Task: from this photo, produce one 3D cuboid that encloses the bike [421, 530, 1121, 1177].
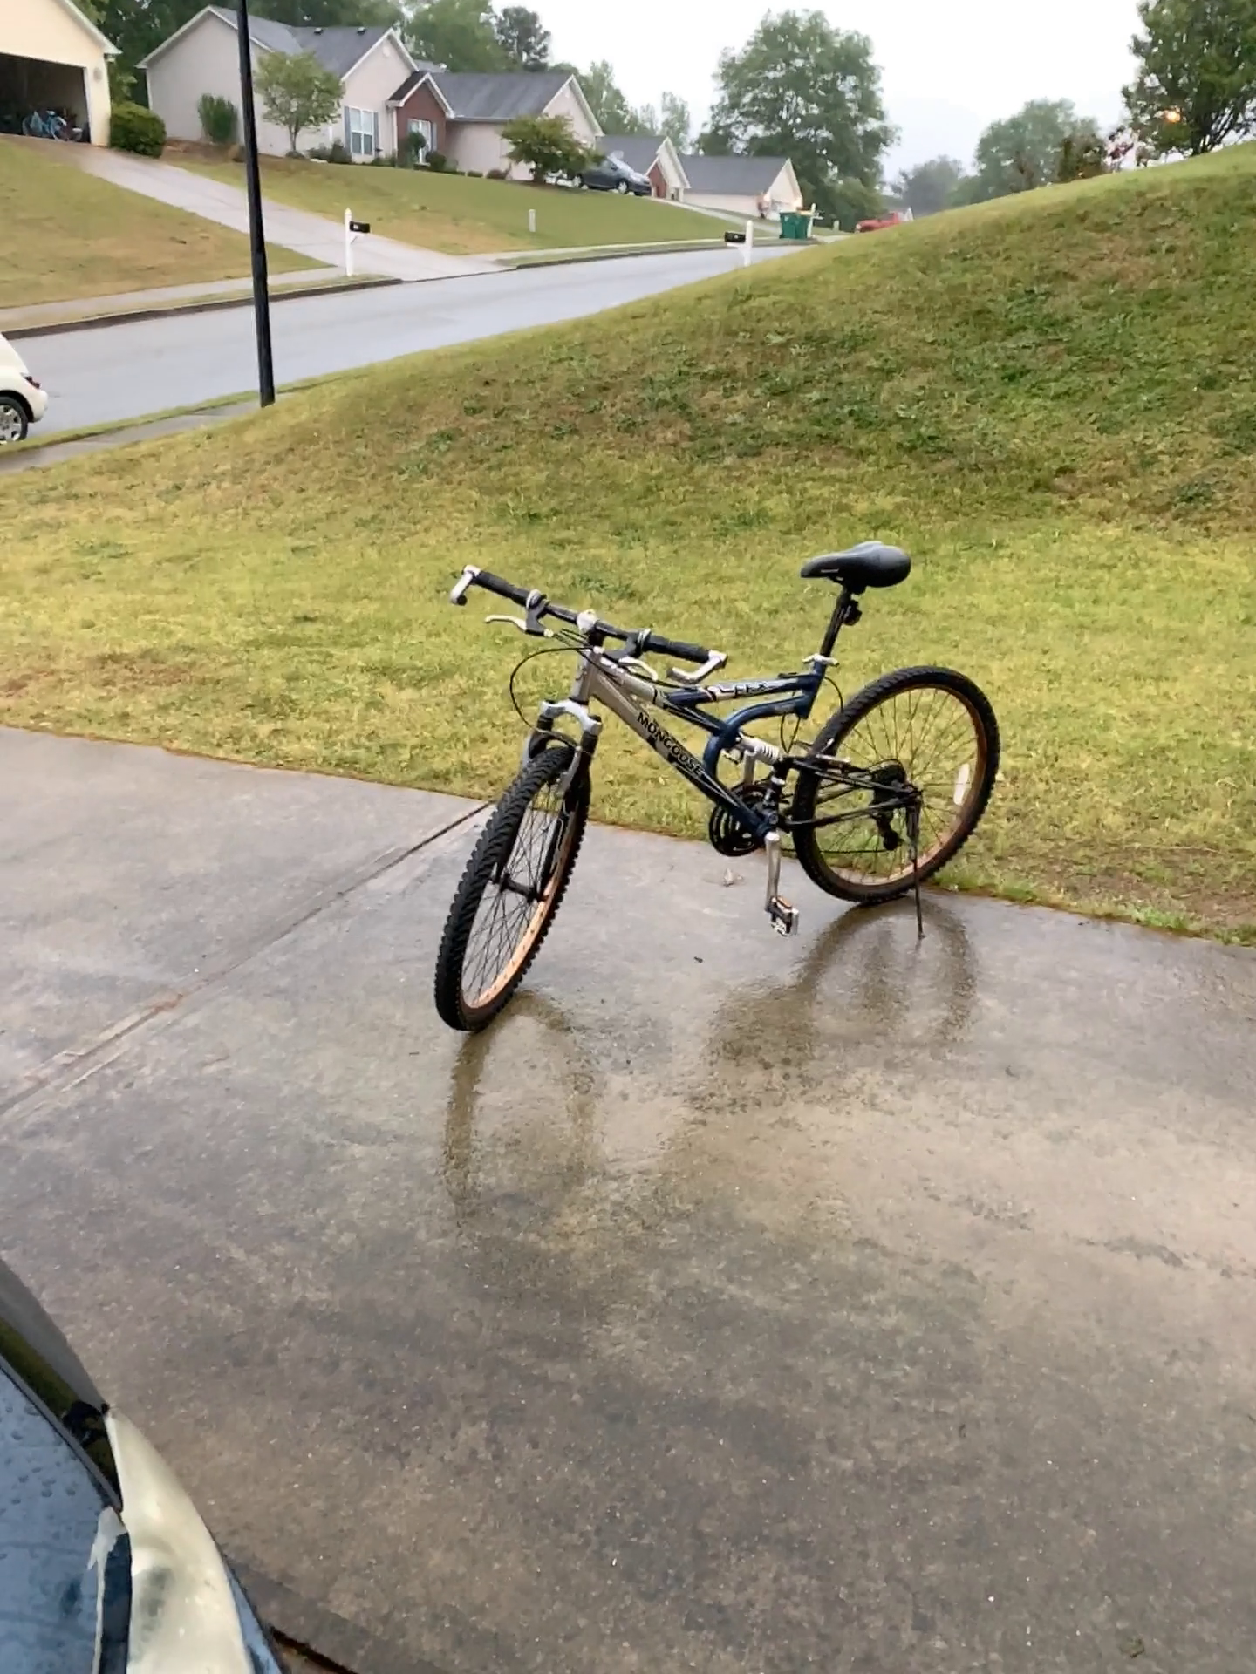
[{"bbox_3d":[0.362,-0.101,2.901,1.691,0.949,0.546,-15,29,-36],"label":"bike"}]
